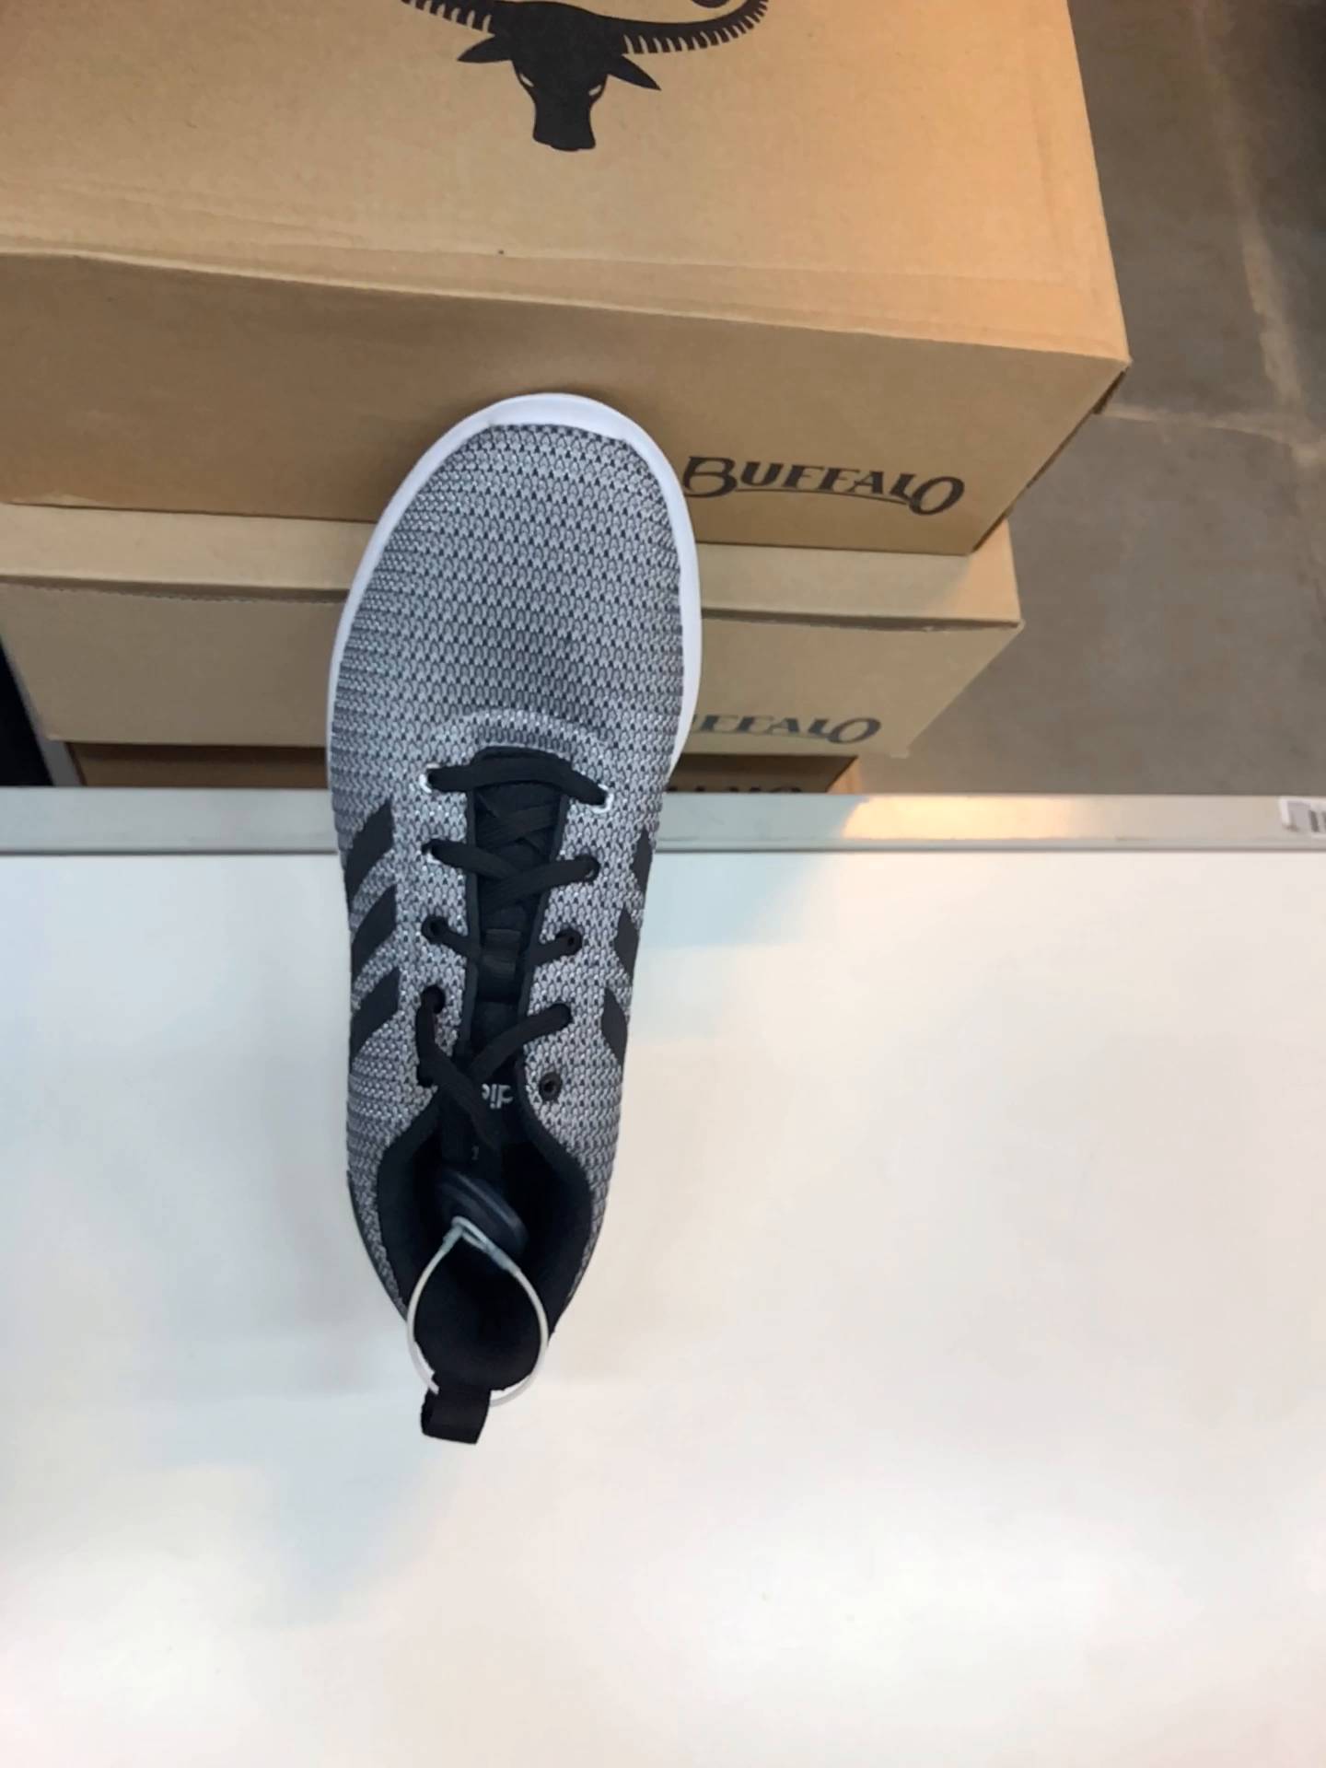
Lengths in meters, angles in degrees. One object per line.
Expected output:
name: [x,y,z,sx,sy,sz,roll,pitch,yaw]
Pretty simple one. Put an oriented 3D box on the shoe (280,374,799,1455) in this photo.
shoe: [-0.042,0.010,0.419,0.112,0.099,0.281,3,106,-8]
